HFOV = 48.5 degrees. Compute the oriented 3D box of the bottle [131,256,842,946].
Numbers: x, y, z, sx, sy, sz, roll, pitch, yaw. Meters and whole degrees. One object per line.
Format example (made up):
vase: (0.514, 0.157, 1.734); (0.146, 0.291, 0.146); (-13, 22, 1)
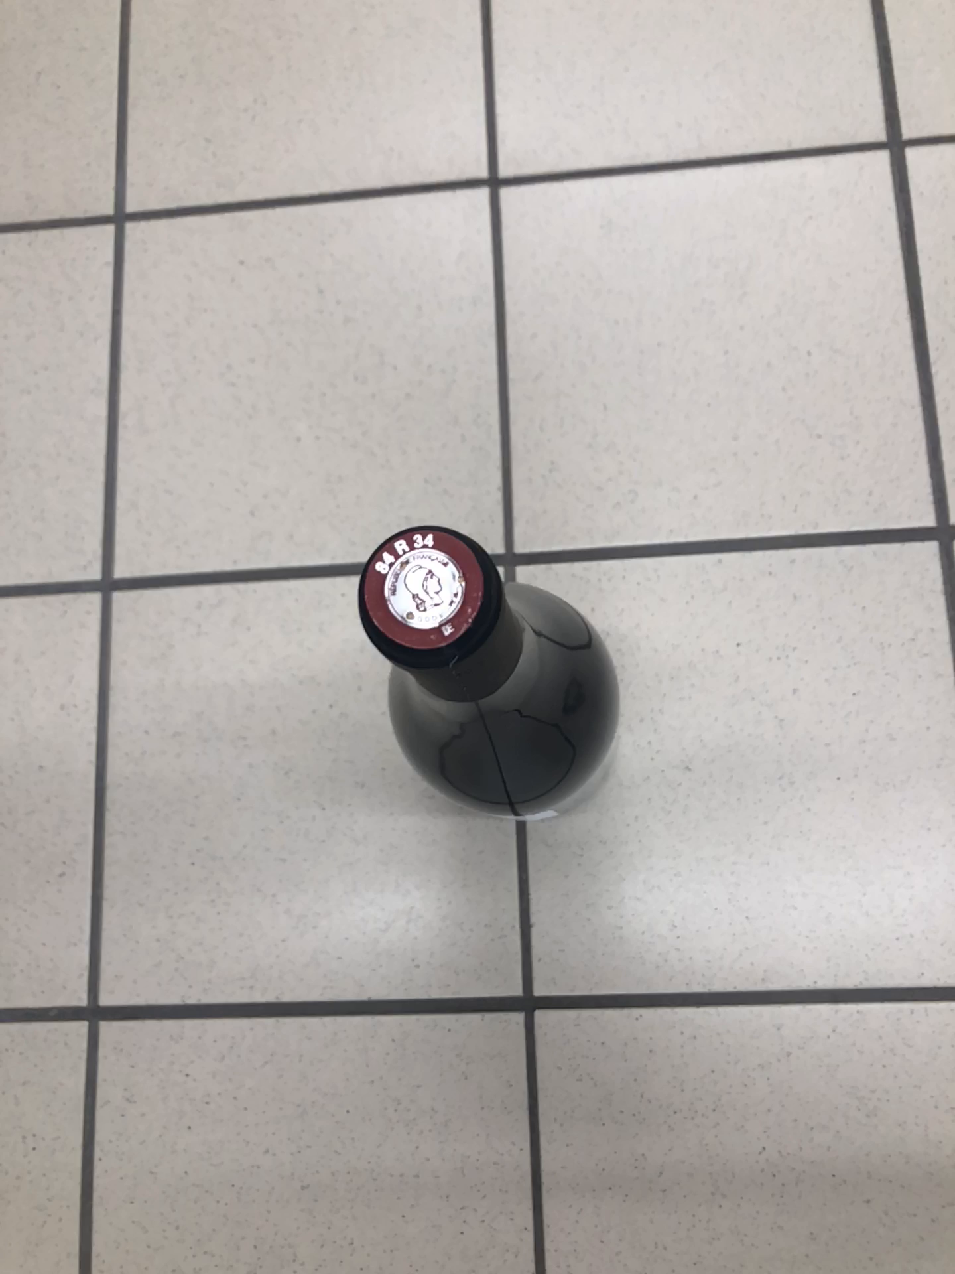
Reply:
bottle: (0.016, 0.017, 0.339); (0.100, 0.290, 0.100); (-1, 78, 6)
